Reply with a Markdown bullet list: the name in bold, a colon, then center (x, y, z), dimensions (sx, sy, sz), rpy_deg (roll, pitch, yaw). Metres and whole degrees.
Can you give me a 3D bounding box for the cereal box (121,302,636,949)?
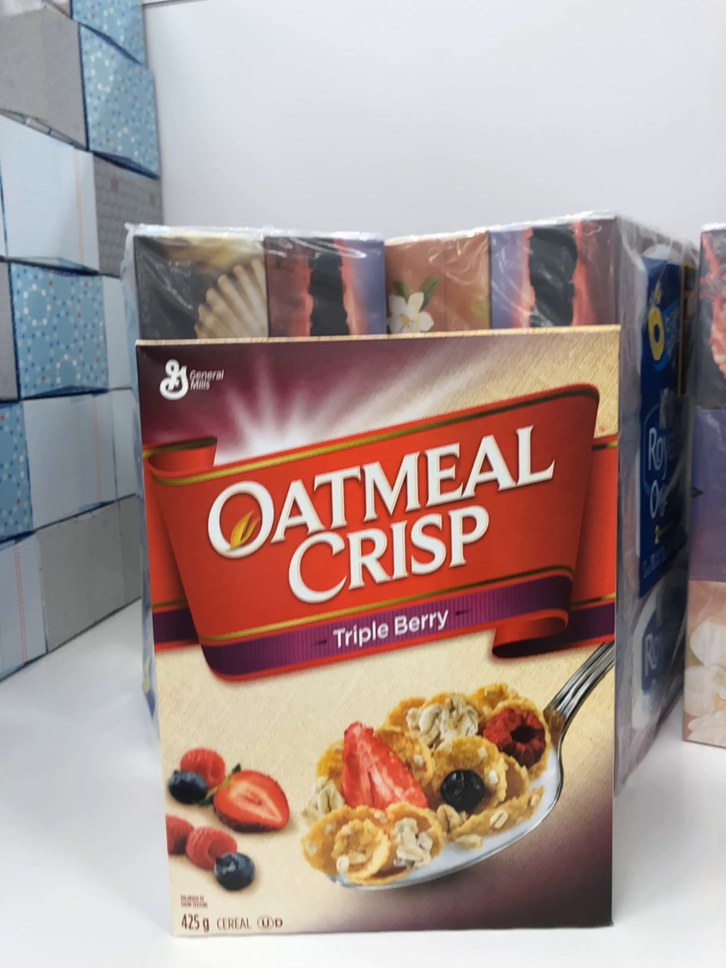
- **cereal box**: center (0.010, 0.062, 0.362), dimensions (0.200, 0.270, 0.060), rpy_deg (-2, 7, 2)
